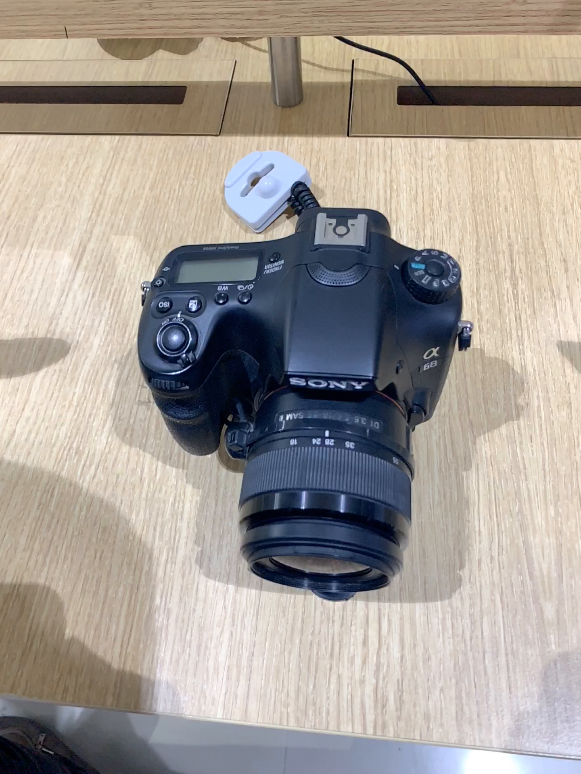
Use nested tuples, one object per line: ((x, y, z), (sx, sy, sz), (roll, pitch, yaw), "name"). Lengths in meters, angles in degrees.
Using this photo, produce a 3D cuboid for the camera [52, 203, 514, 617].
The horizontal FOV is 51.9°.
((0.003, 0.011, 0.243), (0.130, 0.100, 0.135), (1, 61, 5), "camera")
